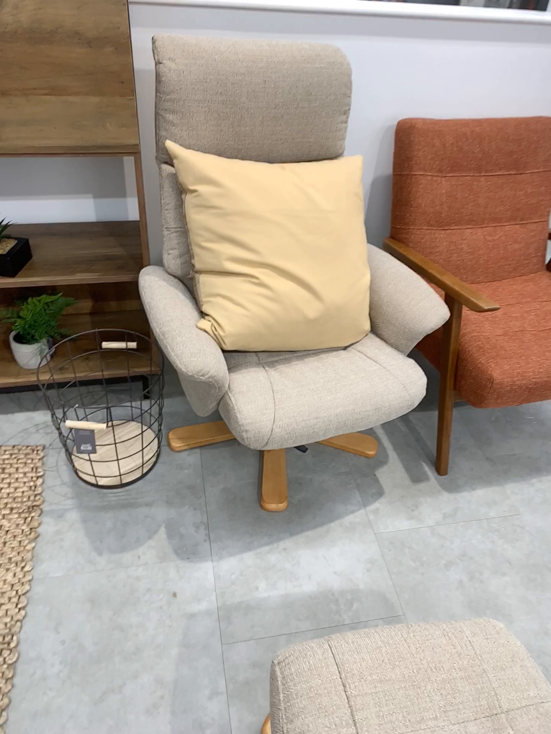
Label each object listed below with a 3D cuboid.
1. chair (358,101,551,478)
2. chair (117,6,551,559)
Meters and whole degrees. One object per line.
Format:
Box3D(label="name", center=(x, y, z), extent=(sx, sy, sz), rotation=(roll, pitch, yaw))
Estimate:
Box3D(label="chair", center=(0.680, -0.261, 1.707), extent=(0.551, 0.919, 0.623), rotation=(-7, 34, -14))
Box3D(label="chair", center=(0.060, -0.205, 1.424), extent=(0.761, 1.047, 0.663), rotation=(-9, 41, -25))
